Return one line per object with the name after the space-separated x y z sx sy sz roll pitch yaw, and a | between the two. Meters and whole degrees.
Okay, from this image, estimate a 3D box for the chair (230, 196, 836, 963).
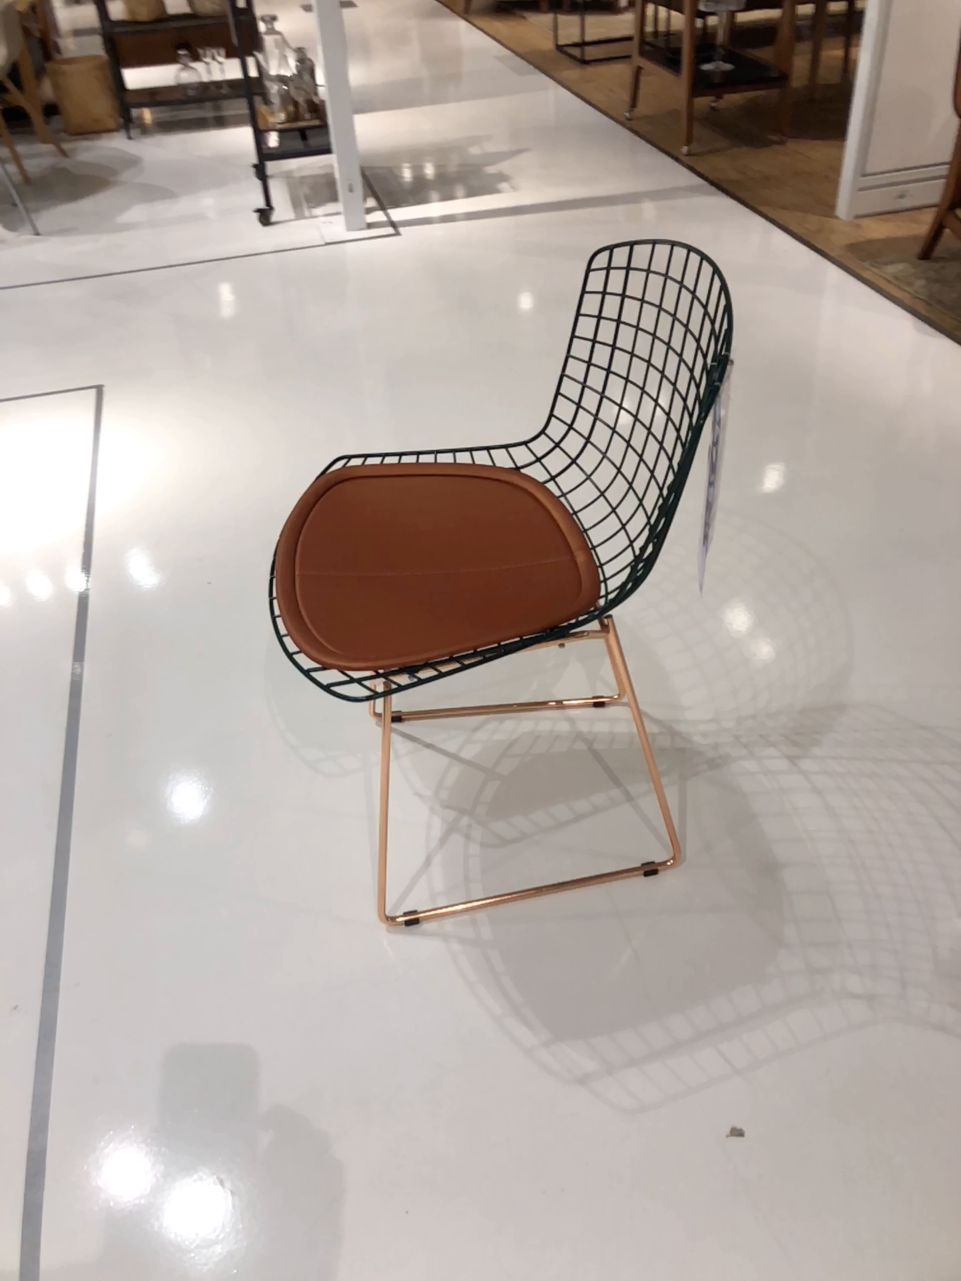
0.046 -0.068 1.276 0.500 0.725 0.494 -6 38 -2 | chair
